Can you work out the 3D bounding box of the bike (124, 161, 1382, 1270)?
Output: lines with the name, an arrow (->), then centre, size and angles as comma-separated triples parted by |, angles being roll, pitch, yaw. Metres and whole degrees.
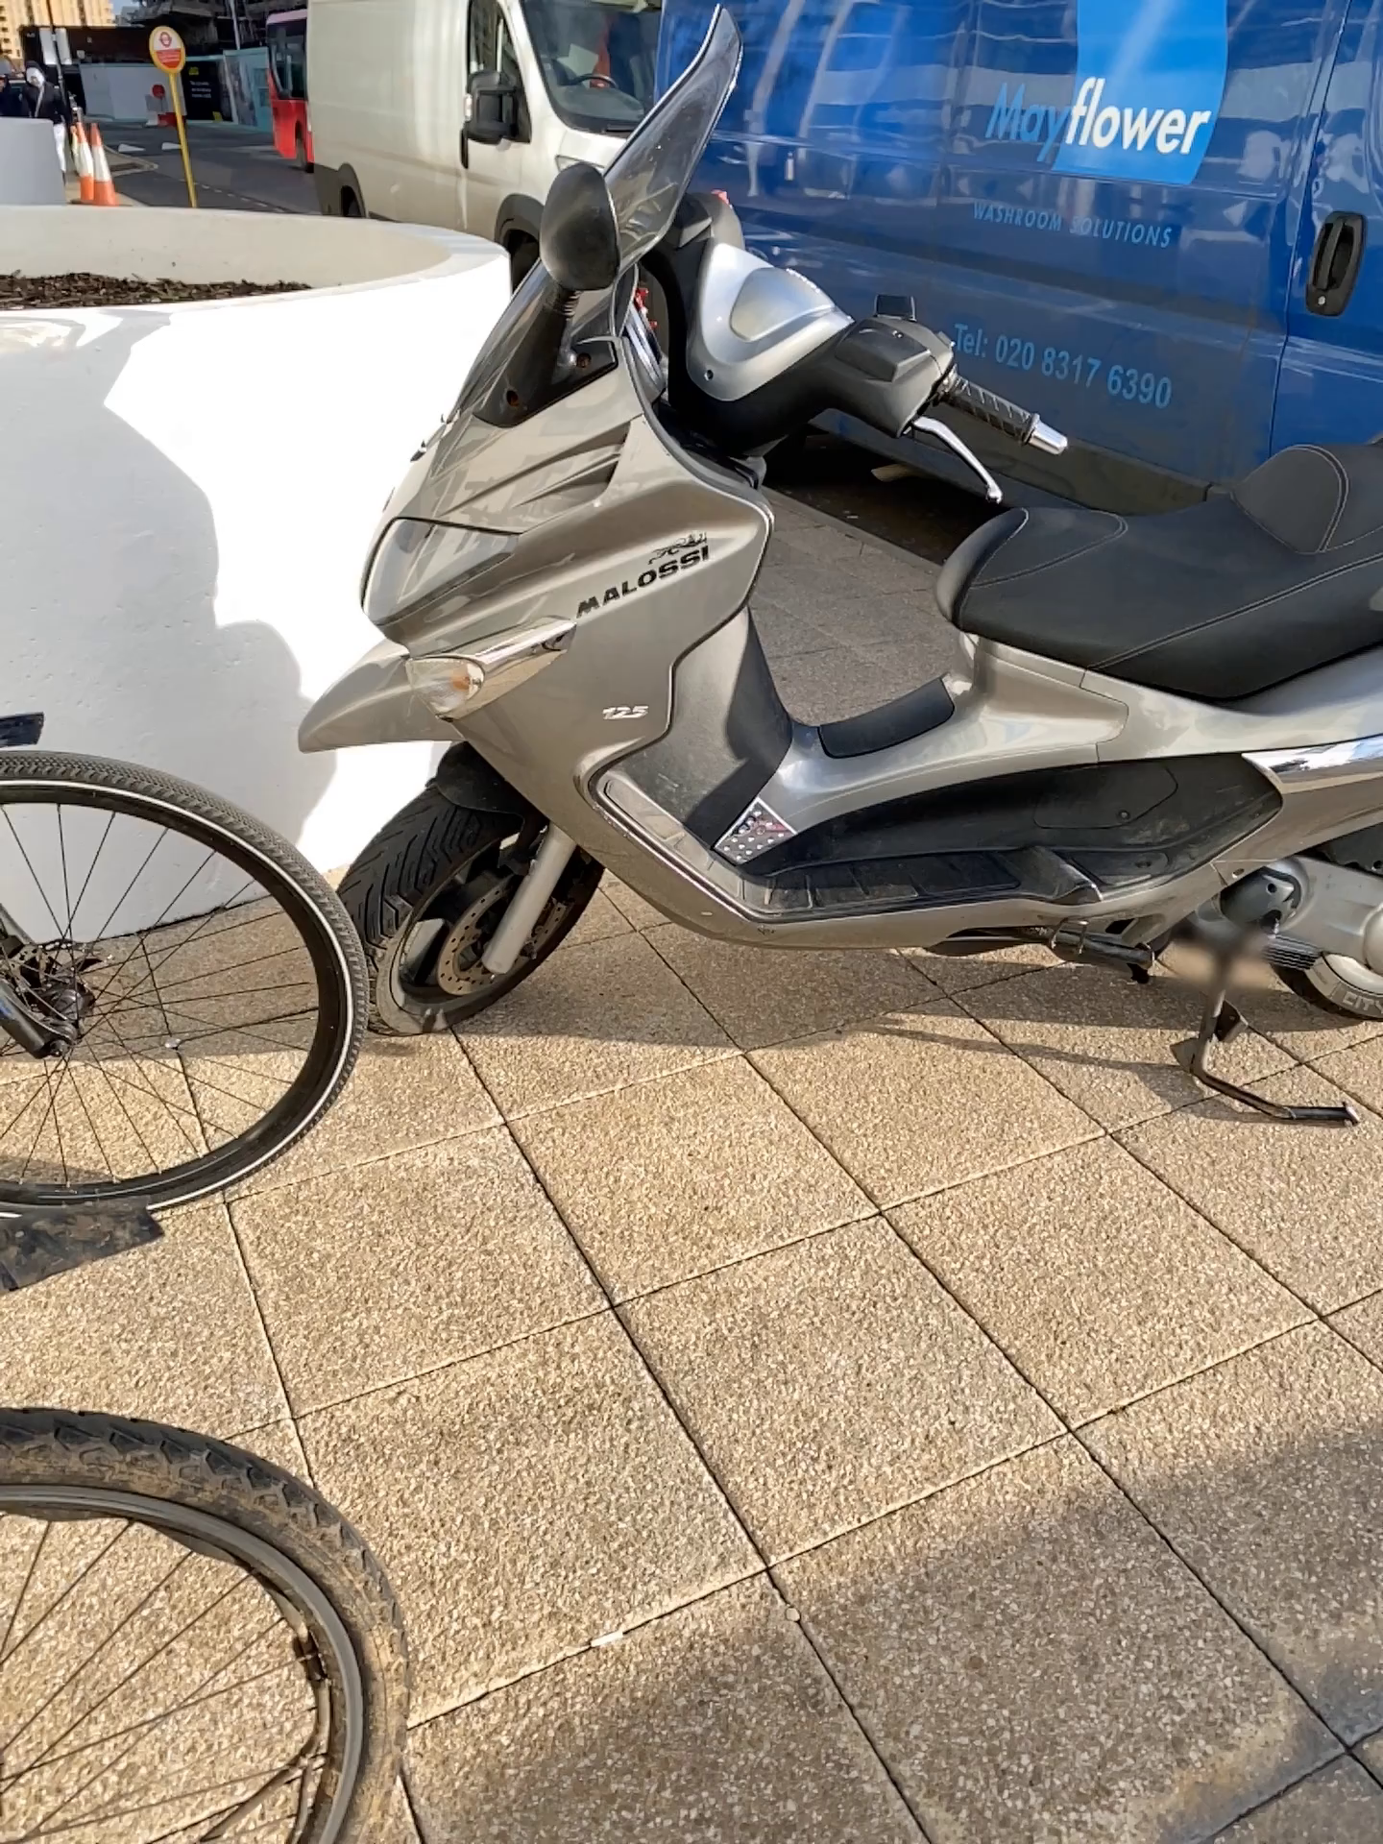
bike -> 0.388, -0.293, 1.689 | 1.653, 1.062, 0.658 | -3, 30, -7
